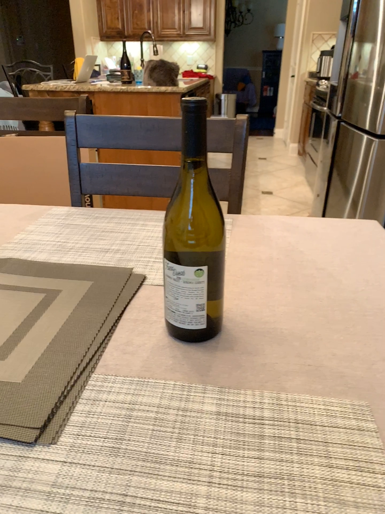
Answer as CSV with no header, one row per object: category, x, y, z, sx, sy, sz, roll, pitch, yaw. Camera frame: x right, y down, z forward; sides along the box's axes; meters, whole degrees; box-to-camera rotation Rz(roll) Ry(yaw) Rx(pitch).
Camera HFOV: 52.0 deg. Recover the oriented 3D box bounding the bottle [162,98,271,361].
bottle,0.026,-0.028,0.469,0.090,0.289,0.080,11,28,21
